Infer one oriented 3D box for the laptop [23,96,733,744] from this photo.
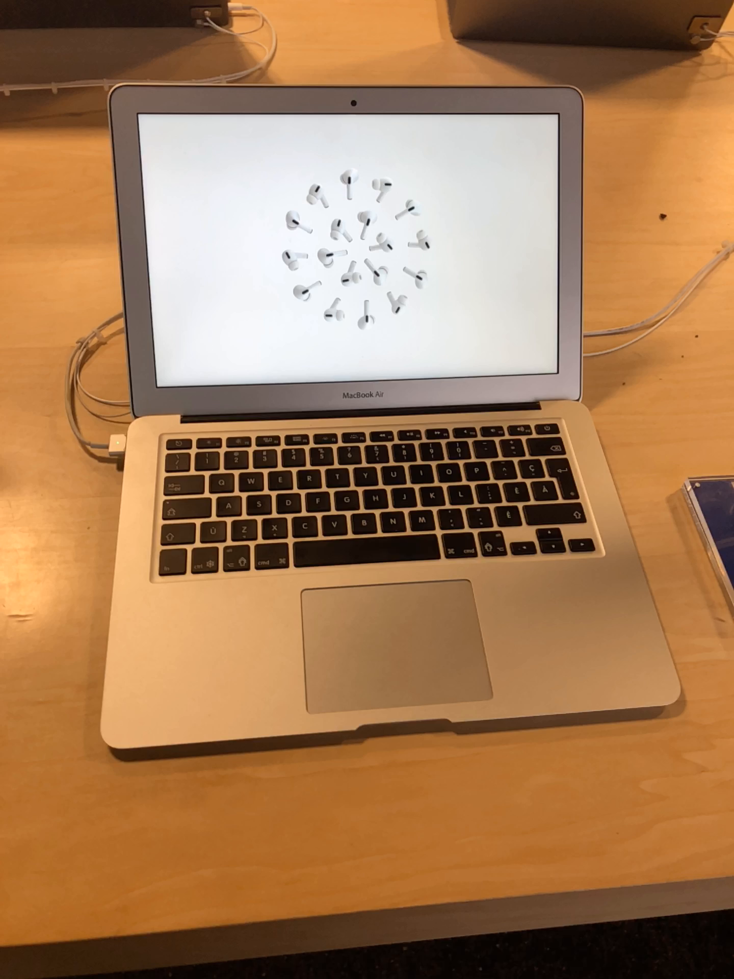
[{"bbox_3d":[0.005,-0.070,0.486,0.311,0.151,0.372,-3,53,-6],"label":"laptop"}]
